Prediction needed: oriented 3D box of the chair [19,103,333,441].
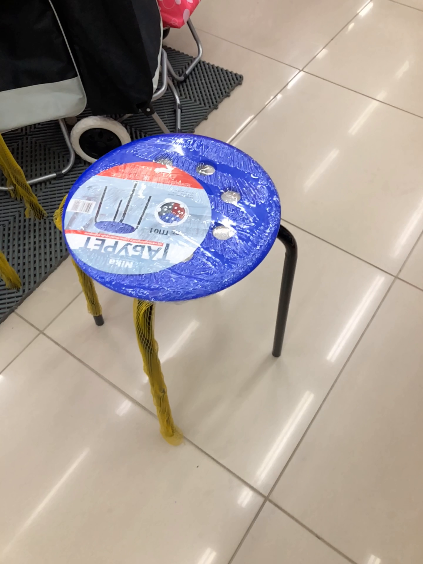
[{"bbox_3d":[-0.057,0.002,0.837,0.321,0.426,0.324,-31,62,-18],"label":"chair"}]
